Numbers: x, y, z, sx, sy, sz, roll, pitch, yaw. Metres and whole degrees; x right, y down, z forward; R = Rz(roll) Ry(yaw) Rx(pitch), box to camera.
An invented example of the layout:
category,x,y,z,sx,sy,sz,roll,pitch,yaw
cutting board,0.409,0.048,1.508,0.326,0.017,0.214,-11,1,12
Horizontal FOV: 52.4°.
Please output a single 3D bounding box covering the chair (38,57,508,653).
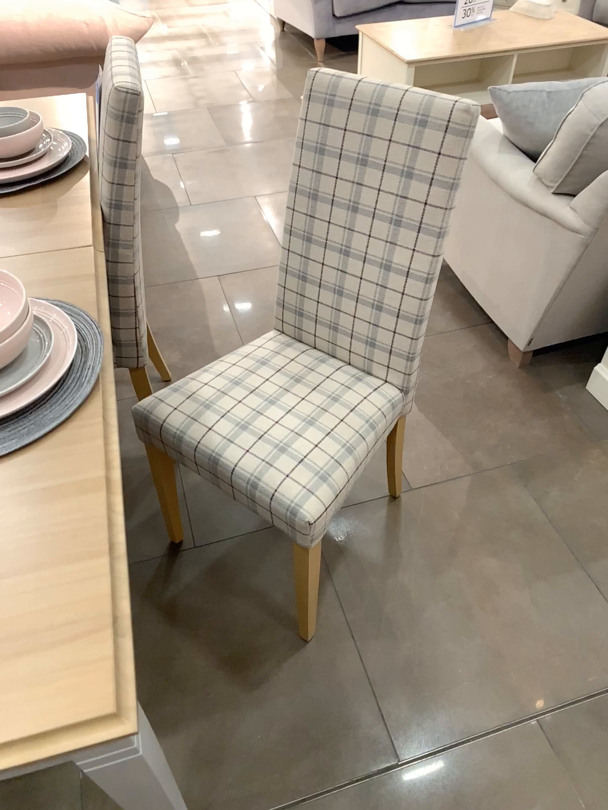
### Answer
category,x,y,z,sx,sy,sz,roll,pitch,yaw
chair,-0.013,-0.065,1.225,0.429,0.938,0.570,26,50,24
